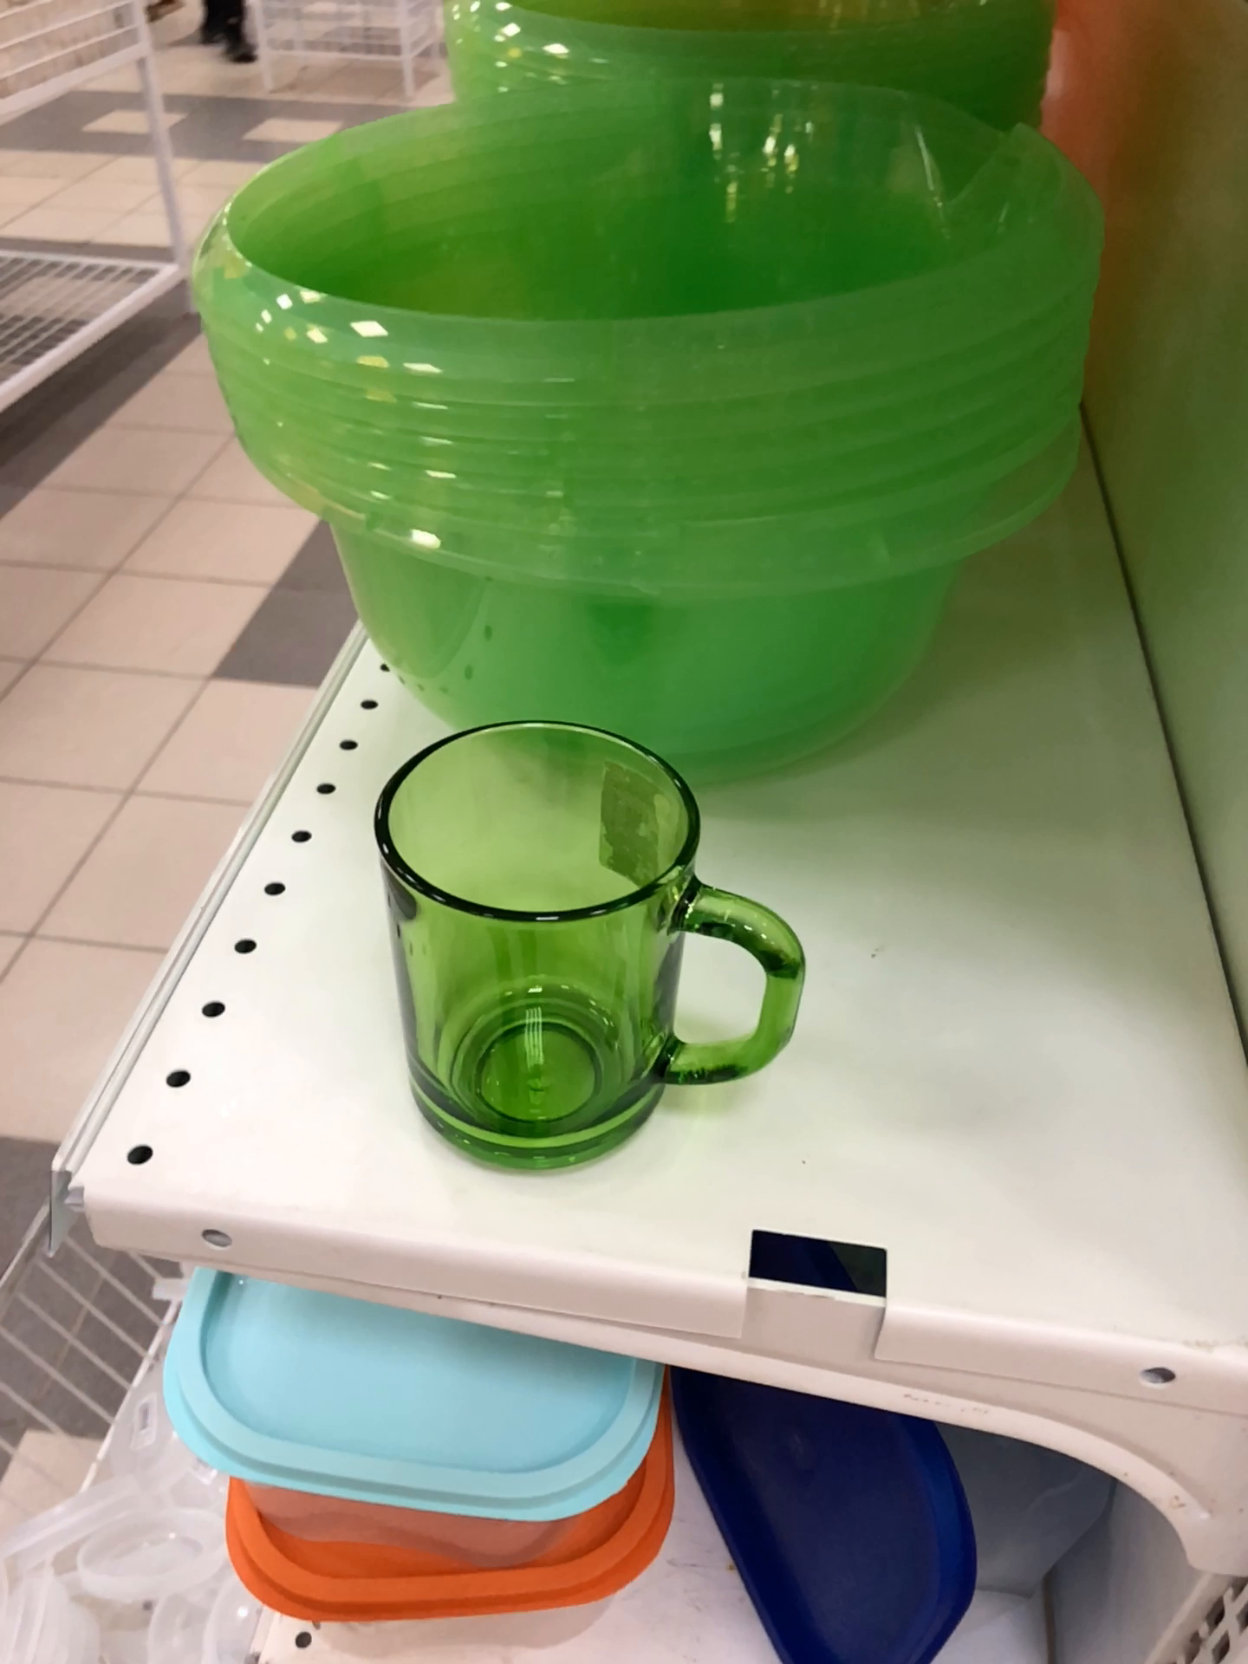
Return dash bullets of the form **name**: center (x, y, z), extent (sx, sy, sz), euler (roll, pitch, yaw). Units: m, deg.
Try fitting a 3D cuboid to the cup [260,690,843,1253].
- **cup**: center (-0.013, 0.031, 0.329), extent (0.110, 0.086, 0.073), euler (12, 41, 14)
